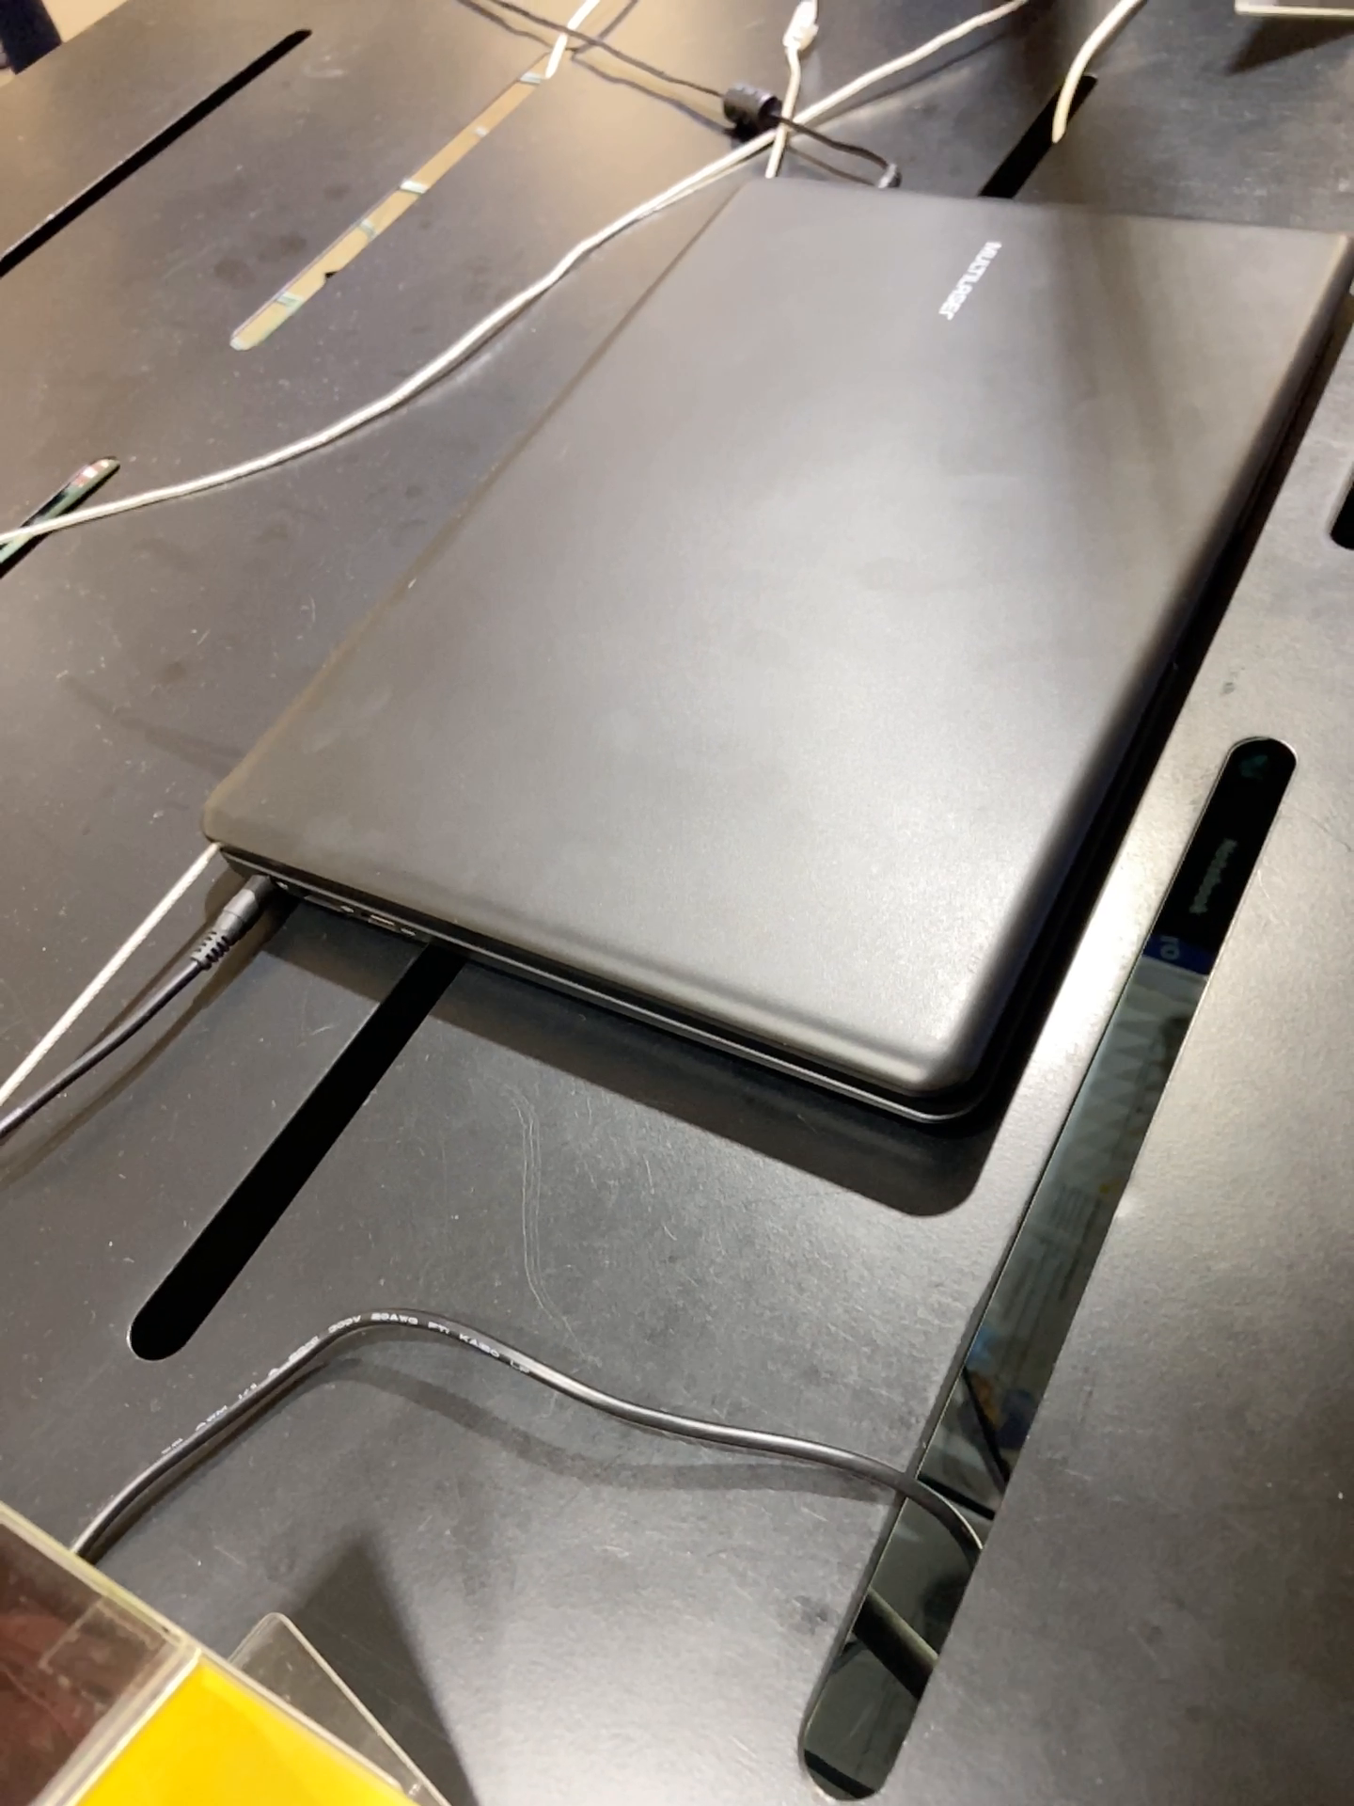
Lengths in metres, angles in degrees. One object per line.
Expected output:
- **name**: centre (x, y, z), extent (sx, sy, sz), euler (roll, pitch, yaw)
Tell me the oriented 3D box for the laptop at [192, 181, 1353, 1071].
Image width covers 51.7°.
- **laptop**: centre (0.041, -0.117, 0.394), extent (0.211, 0.001, 0.325), euler (17, 58, 25)
